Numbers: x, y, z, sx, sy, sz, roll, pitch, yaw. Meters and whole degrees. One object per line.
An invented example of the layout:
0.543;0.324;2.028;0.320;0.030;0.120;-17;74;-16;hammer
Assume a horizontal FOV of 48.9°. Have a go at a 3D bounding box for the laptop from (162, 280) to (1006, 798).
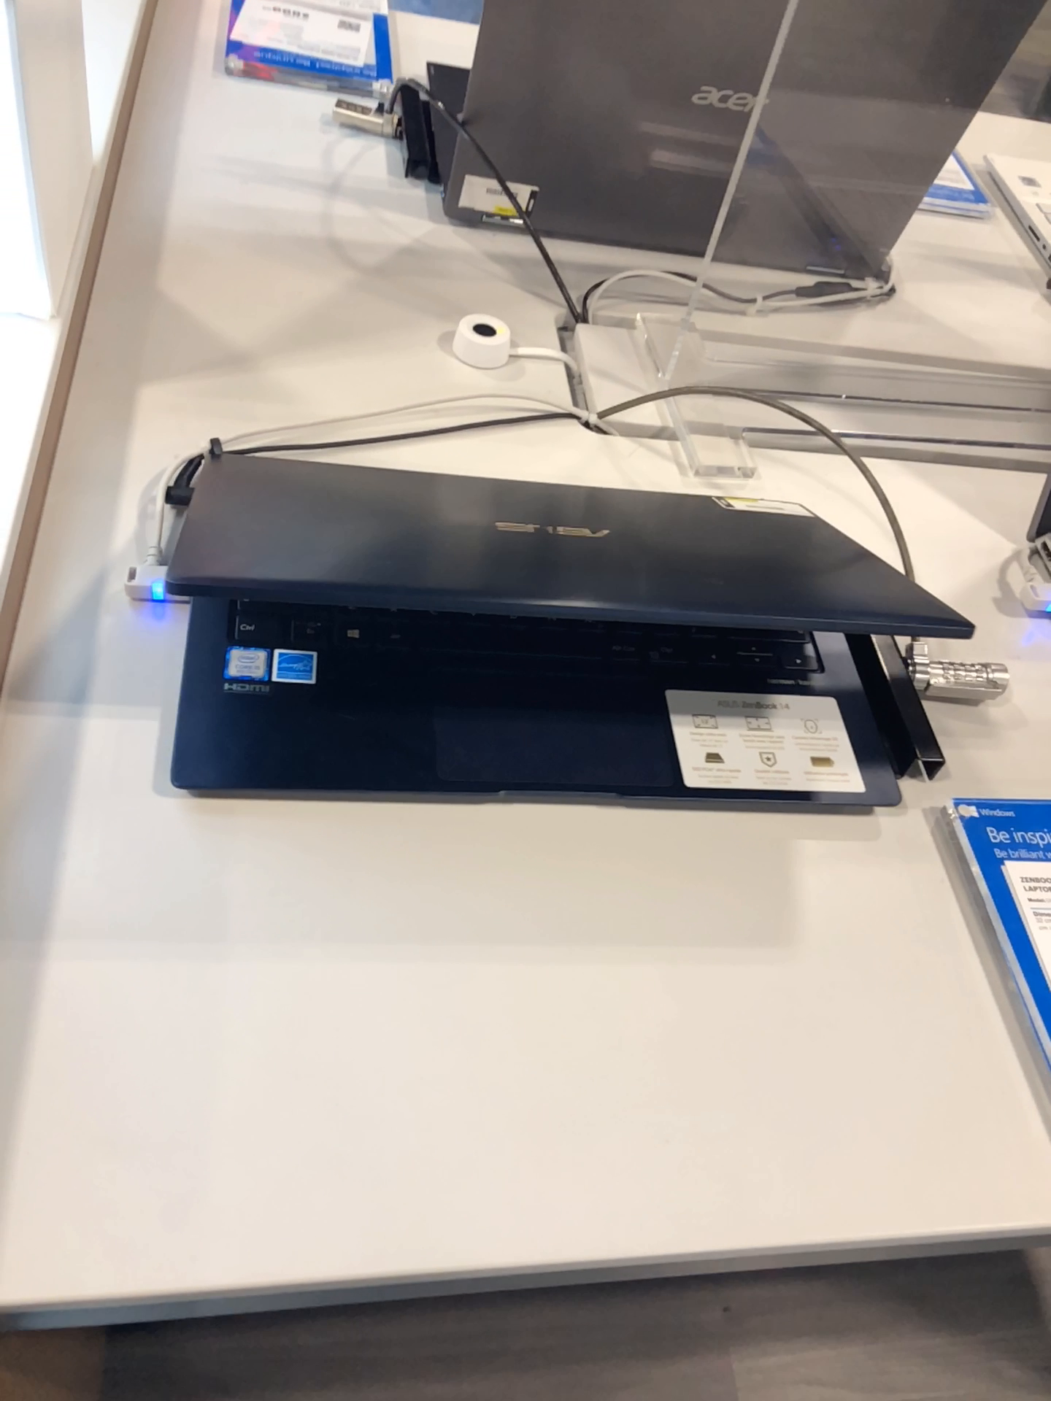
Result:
0.013;-0.071;0.510;0.310;0.095;0.204;3;48;-13;laptop
